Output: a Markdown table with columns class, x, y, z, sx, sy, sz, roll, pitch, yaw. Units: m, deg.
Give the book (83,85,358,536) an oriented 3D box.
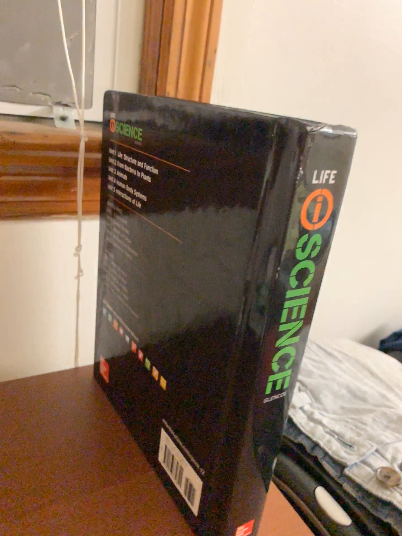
| class | x | y | z | sx | sy | sz | roll | pitch | yaw |
| --- | --- | --- | --- | --- | --- | --- | --- | --- | --- |
| book | -0.025 | 0.023 | 0.320 | 0.051 | 0.286 | 0.227 | -6 | 25 | -33 |
